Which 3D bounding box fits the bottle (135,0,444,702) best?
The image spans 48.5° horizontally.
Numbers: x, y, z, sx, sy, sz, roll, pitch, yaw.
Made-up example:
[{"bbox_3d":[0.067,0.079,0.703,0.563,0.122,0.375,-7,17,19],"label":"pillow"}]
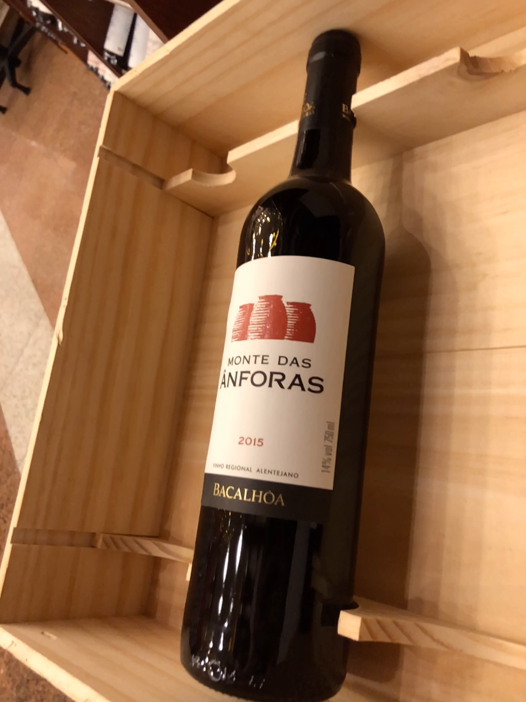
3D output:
[{"bbox_3d":[0.017,-0.014,0.273,0.080,0.060,0.320,-1,76,45],"label":"bottle"}]
